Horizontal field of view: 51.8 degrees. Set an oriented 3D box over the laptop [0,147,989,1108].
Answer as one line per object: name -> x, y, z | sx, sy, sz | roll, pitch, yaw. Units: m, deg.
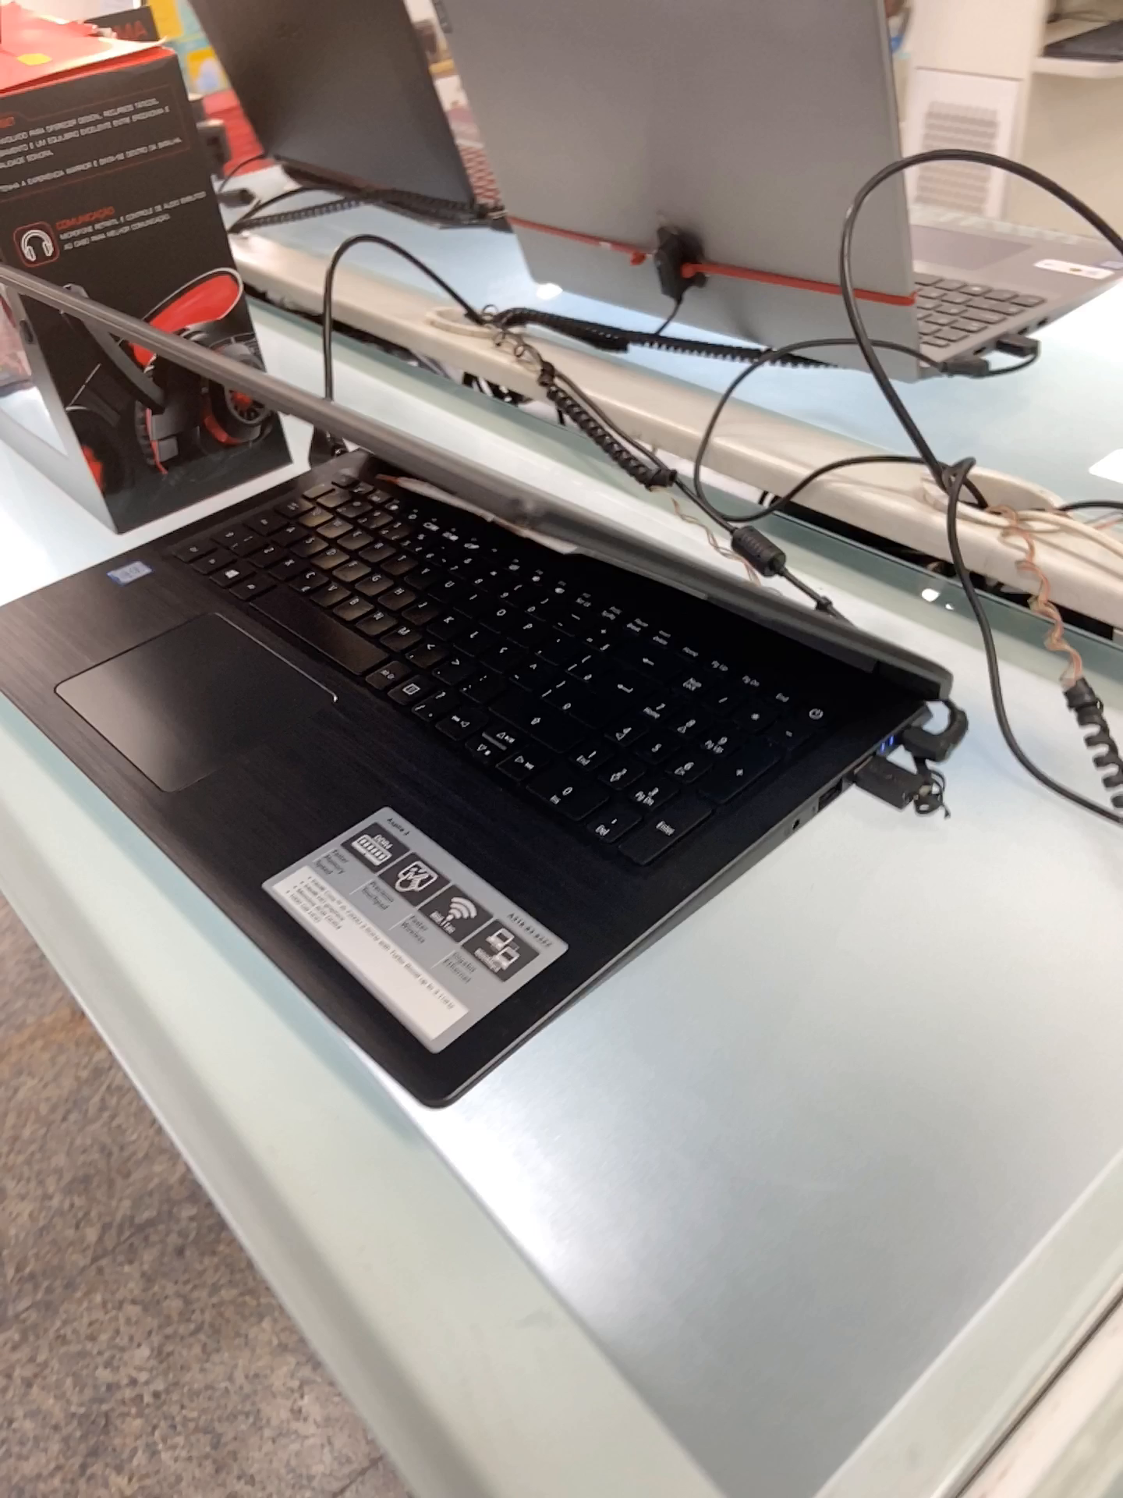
laptop -> -0.081, -0.096, 0.440 | 0.239, 0.157, 0.371 | -34, 46, -28
